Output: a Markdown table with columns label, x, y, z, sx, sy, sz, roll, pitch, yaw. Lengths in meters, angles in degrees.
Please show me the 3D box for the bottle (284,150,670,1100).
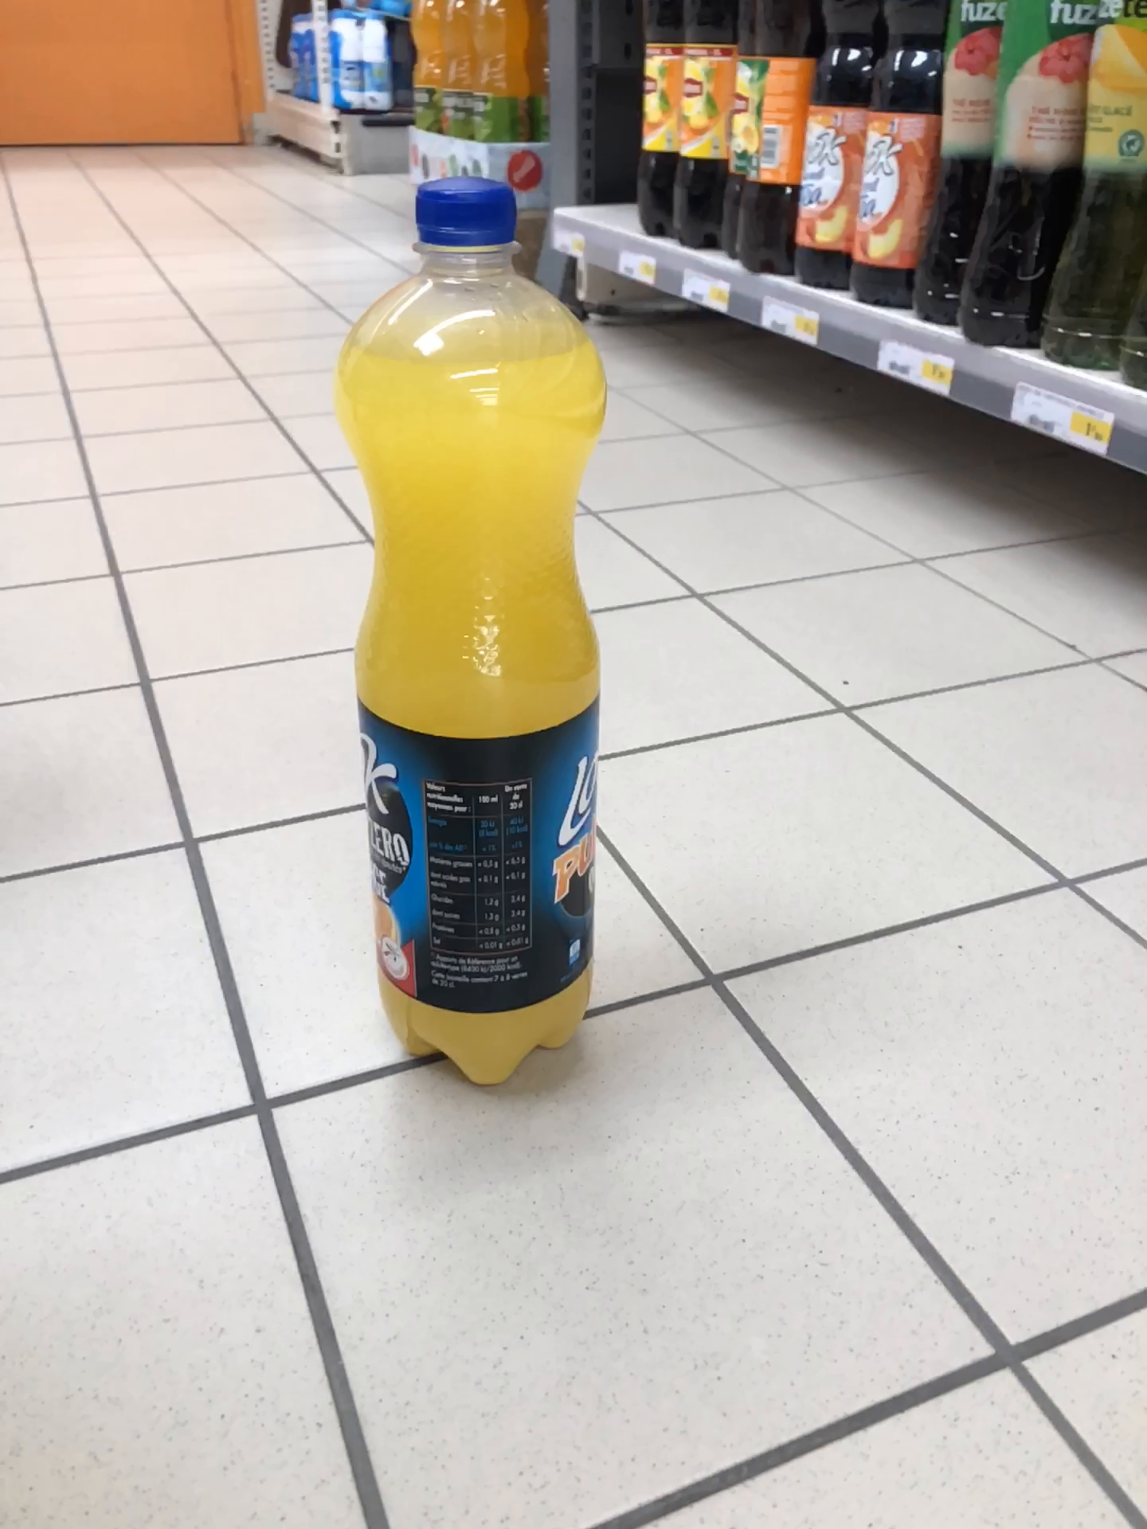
| label | x | y | z | sx | sy | sz | roll | pitch | yaw |
| --- | --- | --- | --- | --- | --- | --- | --- | --- | --- |
| bottle | -0.028 | -0.037 | 0.447 | 0.100 | 0.318 | 0.101 | 1 | 29 | 0 |
